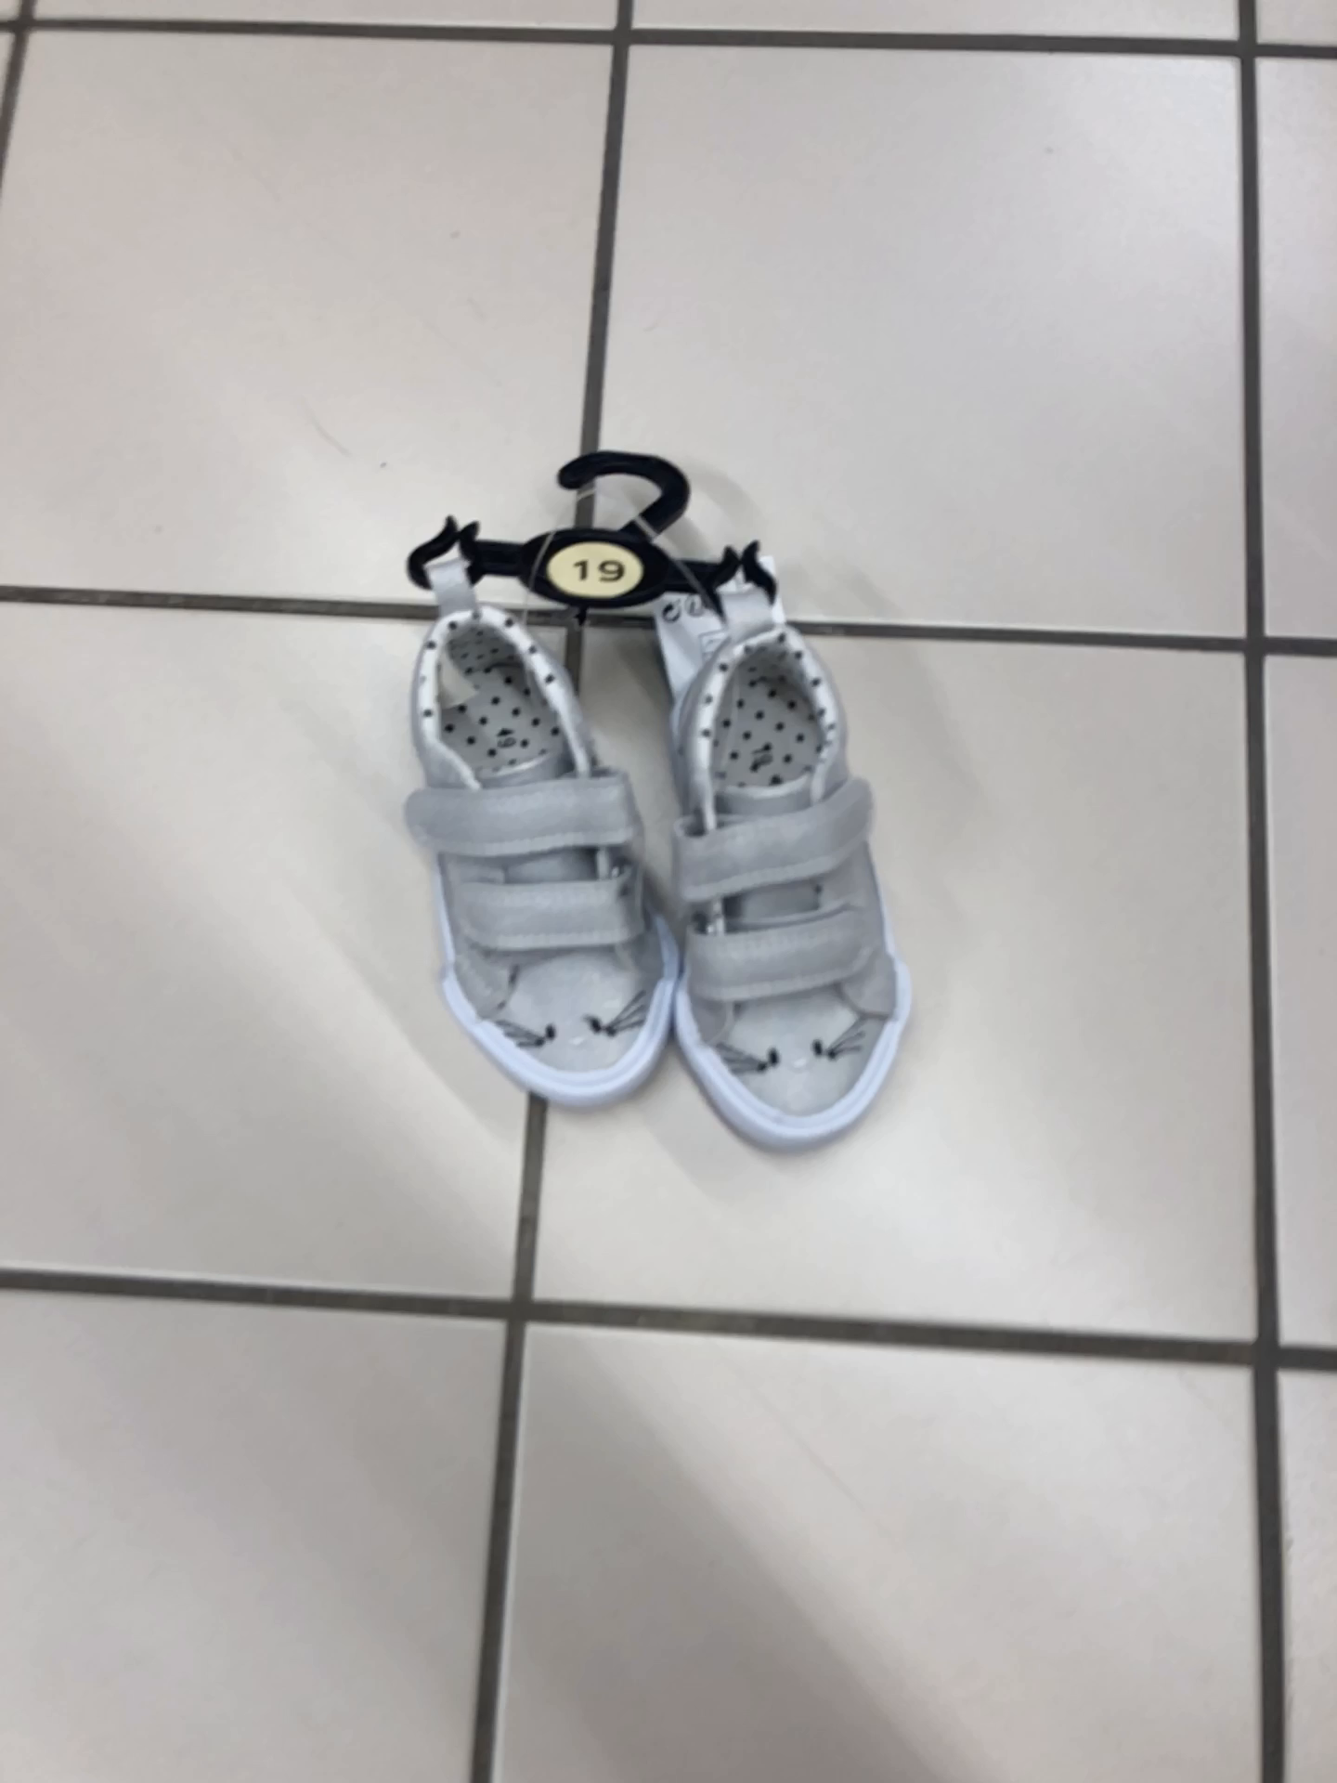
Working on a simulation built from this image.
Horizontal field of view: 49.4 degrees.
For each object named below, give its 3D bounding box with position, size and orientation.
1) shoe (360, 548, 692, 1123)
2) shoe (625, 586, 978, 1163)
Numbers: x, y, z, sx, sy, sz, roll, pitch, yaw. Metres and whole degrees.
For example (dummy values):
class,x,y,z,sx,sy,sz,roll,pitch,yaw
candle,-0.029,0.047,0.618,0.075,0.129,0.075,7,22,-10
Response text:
class,x,y,z,sx,sy,sz,roll,pitch,yaw
shoe,-0.037,-0.013,0.393,0.059,0.054,0.138,-12,78,0
shoe,0.033,-0.002,0.390,0.064,0.054,0.138,-10,78,0
